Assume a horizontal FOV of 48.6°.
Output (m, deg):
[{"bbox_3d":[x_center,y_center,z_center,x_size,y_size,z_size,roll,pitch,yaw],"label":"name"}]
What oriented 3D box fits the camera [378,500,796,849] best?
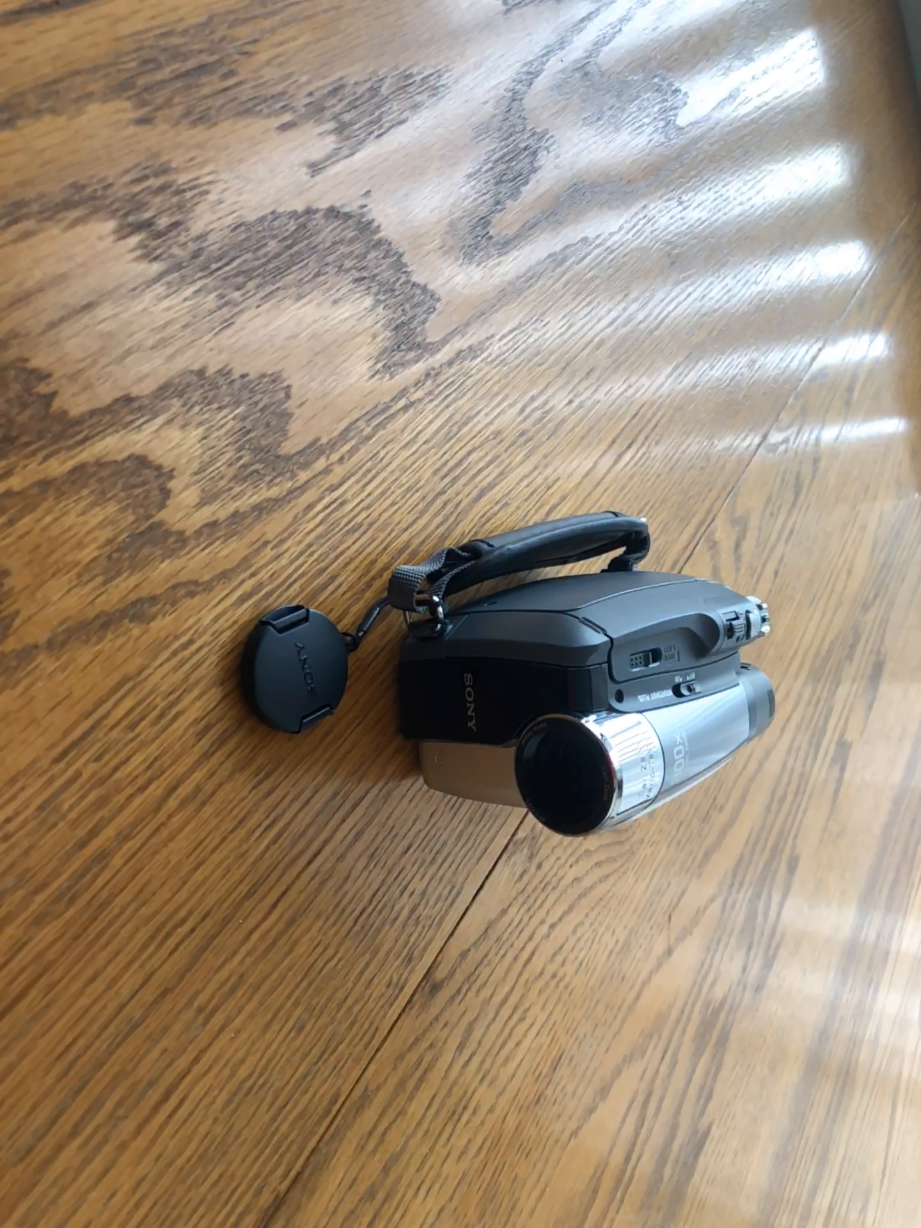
[{"bbox_3d":[0.043,0.011,0.311,0.112,0.072,0.079,-12,99,-50],"label":"camera"}]
